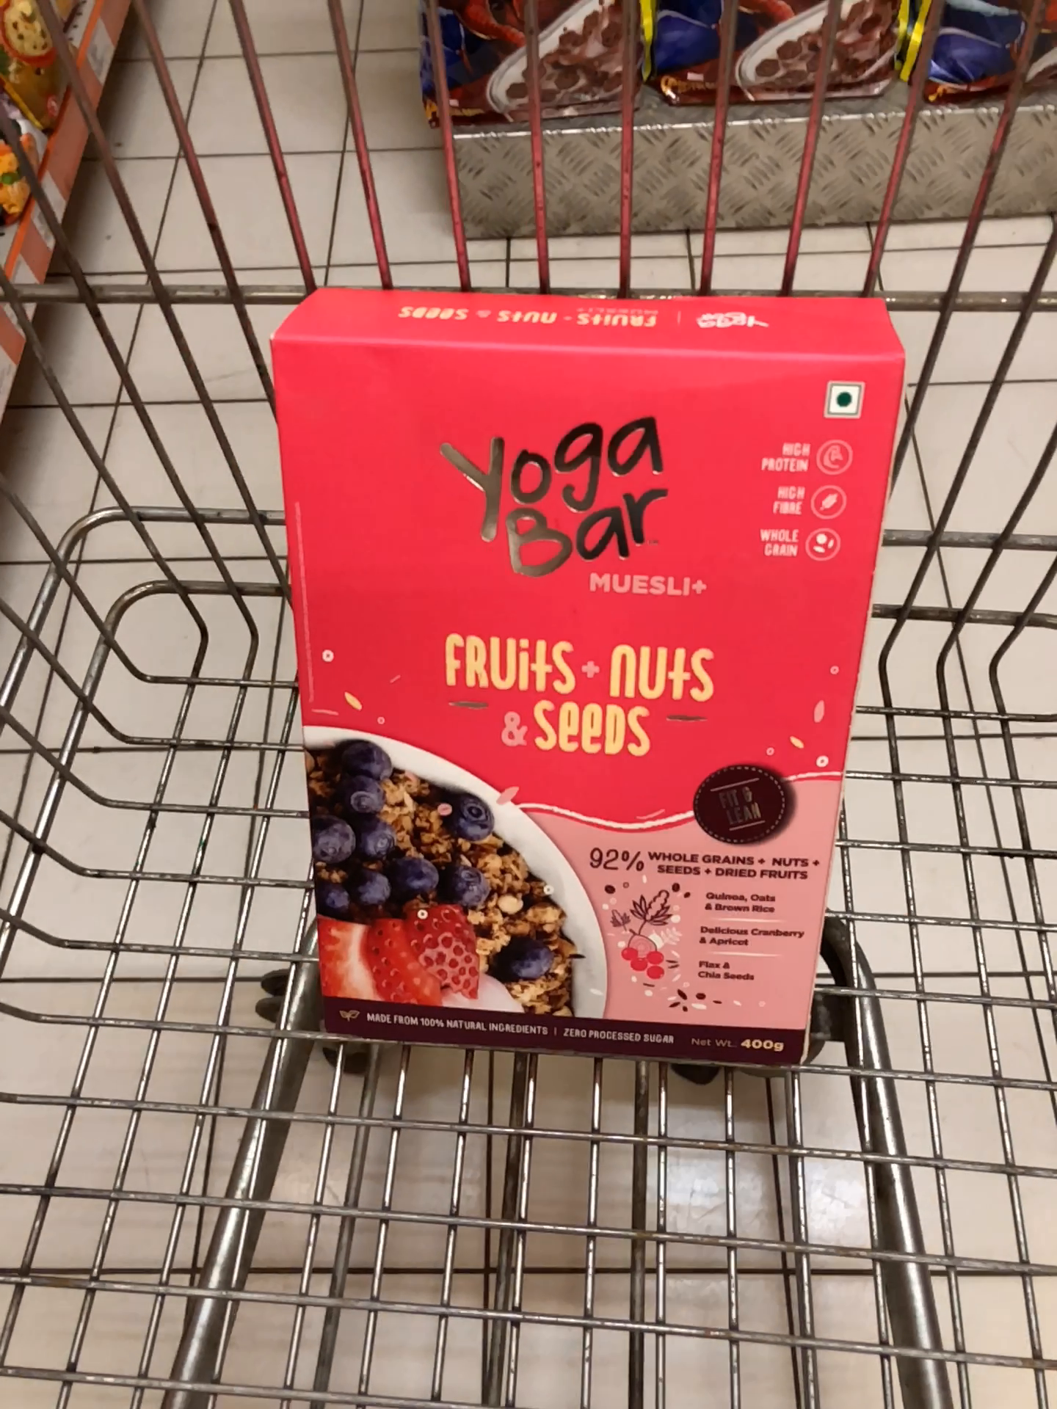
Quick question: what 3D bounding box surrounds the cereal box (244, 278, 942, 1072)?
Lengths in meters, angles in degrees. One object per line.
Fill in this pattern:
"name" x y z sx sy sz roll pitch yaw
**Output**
"cereal box" 0.015 -0.002 0.367 0.170 0.239 0.060 3 28 5
